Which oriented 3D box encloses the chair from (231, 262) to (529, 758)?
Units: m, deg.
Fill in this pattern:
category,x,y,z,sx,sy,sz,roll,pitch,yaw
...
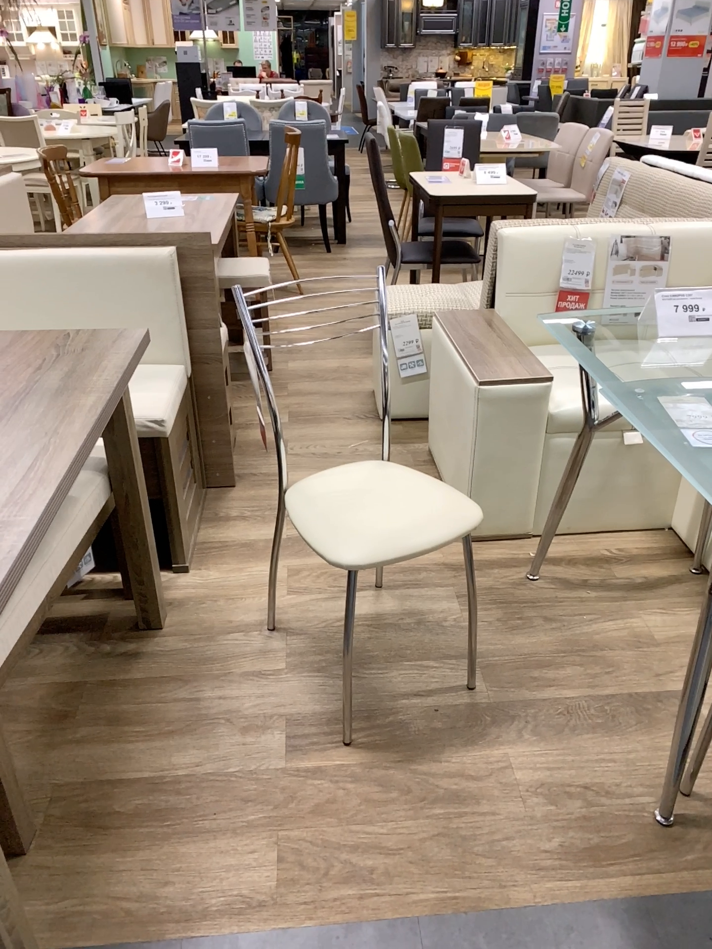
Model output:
category,x,y,z,sx,sy,sz,roll,pitch,yaw
chair,0.027,0.071,1.689,0.414,0.967,0.482,-15,32,-24
